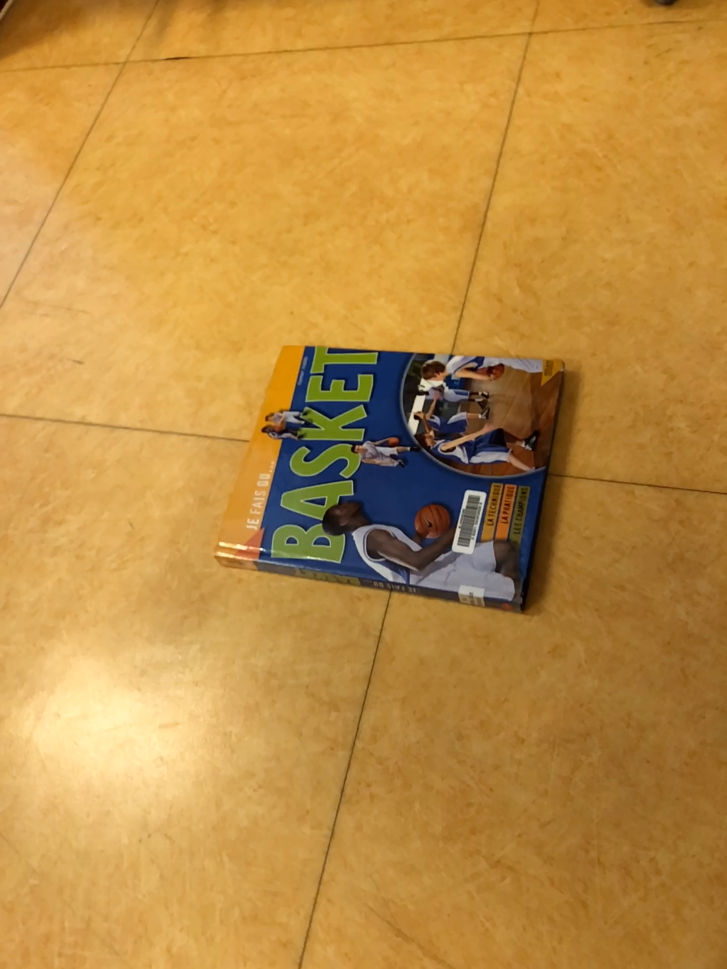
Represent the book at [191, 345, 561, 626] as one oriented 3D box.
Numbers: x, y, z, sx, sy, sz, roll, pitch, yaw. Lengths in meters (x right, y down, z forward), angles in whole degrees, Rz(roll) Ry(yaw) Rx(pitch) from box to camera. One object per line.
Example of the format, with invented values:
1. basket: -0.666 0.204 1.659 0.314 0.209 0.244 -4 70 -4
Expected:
1. book: 0.011 -0.012 0.636 0.256 0.020 0.211 6 66 20
